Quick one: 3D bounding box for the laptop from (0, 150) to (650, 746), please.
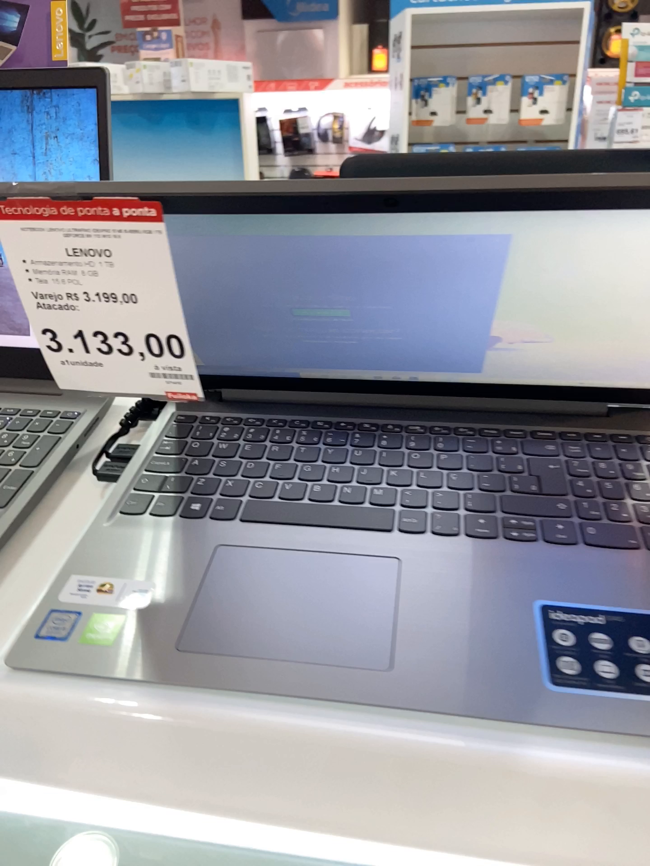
[{"bbox_3d":[0.038,-0.027,0.359,0.359,0.163,0.243,2,33,9],"label":"laptop"}]

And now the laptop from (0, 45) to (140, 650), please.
[{"bbox_3d":[-0.361,-0.113,0.458,0.346,0.224,0.353,3,33,6],"label":"laptop"}]
